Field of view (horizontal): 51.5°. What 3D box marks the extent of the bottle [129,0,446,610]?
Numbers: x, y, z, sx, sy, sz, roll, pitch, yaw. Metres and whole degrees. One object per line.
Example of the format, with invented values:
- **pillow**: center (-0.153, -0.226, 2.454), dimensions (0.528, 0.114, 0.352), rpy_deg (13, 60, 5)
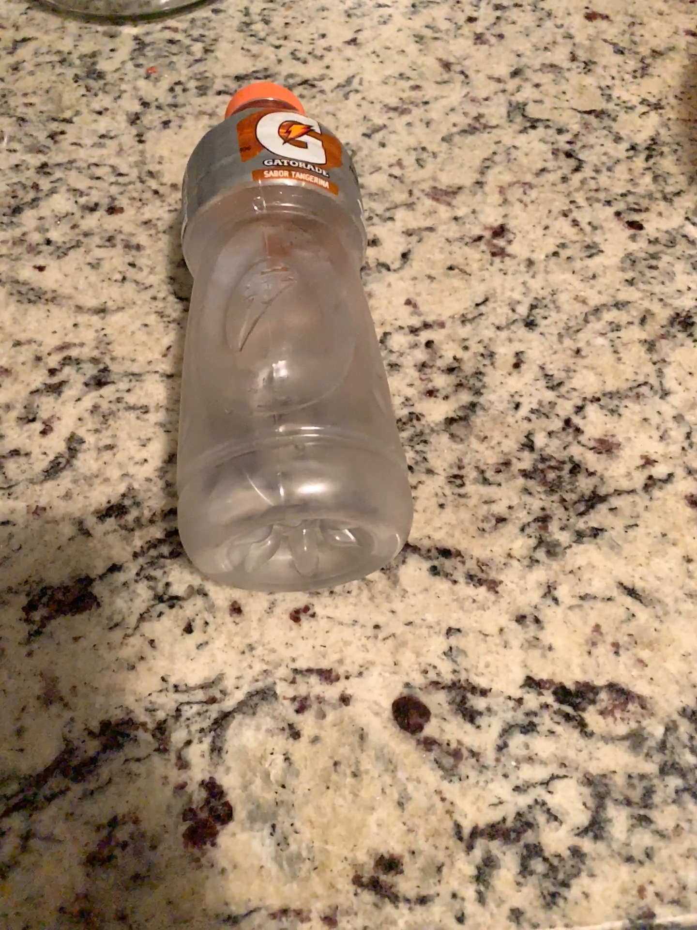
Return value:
- **bottle**: center (-0.025, -0.072, 0.244), dimensions (0.070, 0.070, 0.221), rpy_deg (-6, 60, -2)
